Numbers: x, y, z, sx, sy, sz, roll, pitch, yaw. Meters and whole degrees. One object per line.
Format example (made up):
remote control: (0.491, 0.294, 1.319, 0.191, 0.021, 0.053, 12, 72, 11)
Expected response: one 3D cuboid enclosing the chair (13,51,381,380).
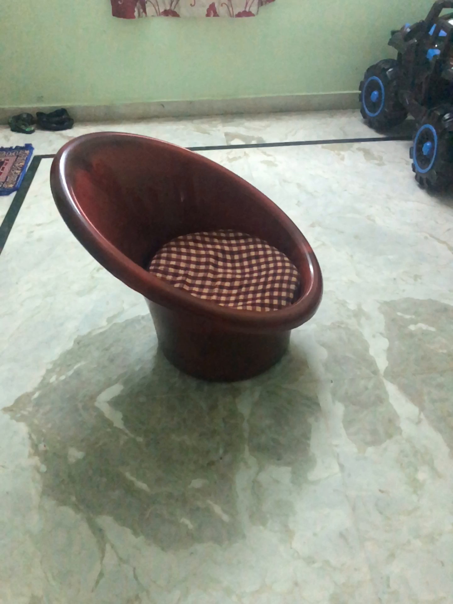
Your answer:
chair: (-0.024, -0.257, 1.272, 0.630, 0.546, 0.674, 2, 40, 5)
